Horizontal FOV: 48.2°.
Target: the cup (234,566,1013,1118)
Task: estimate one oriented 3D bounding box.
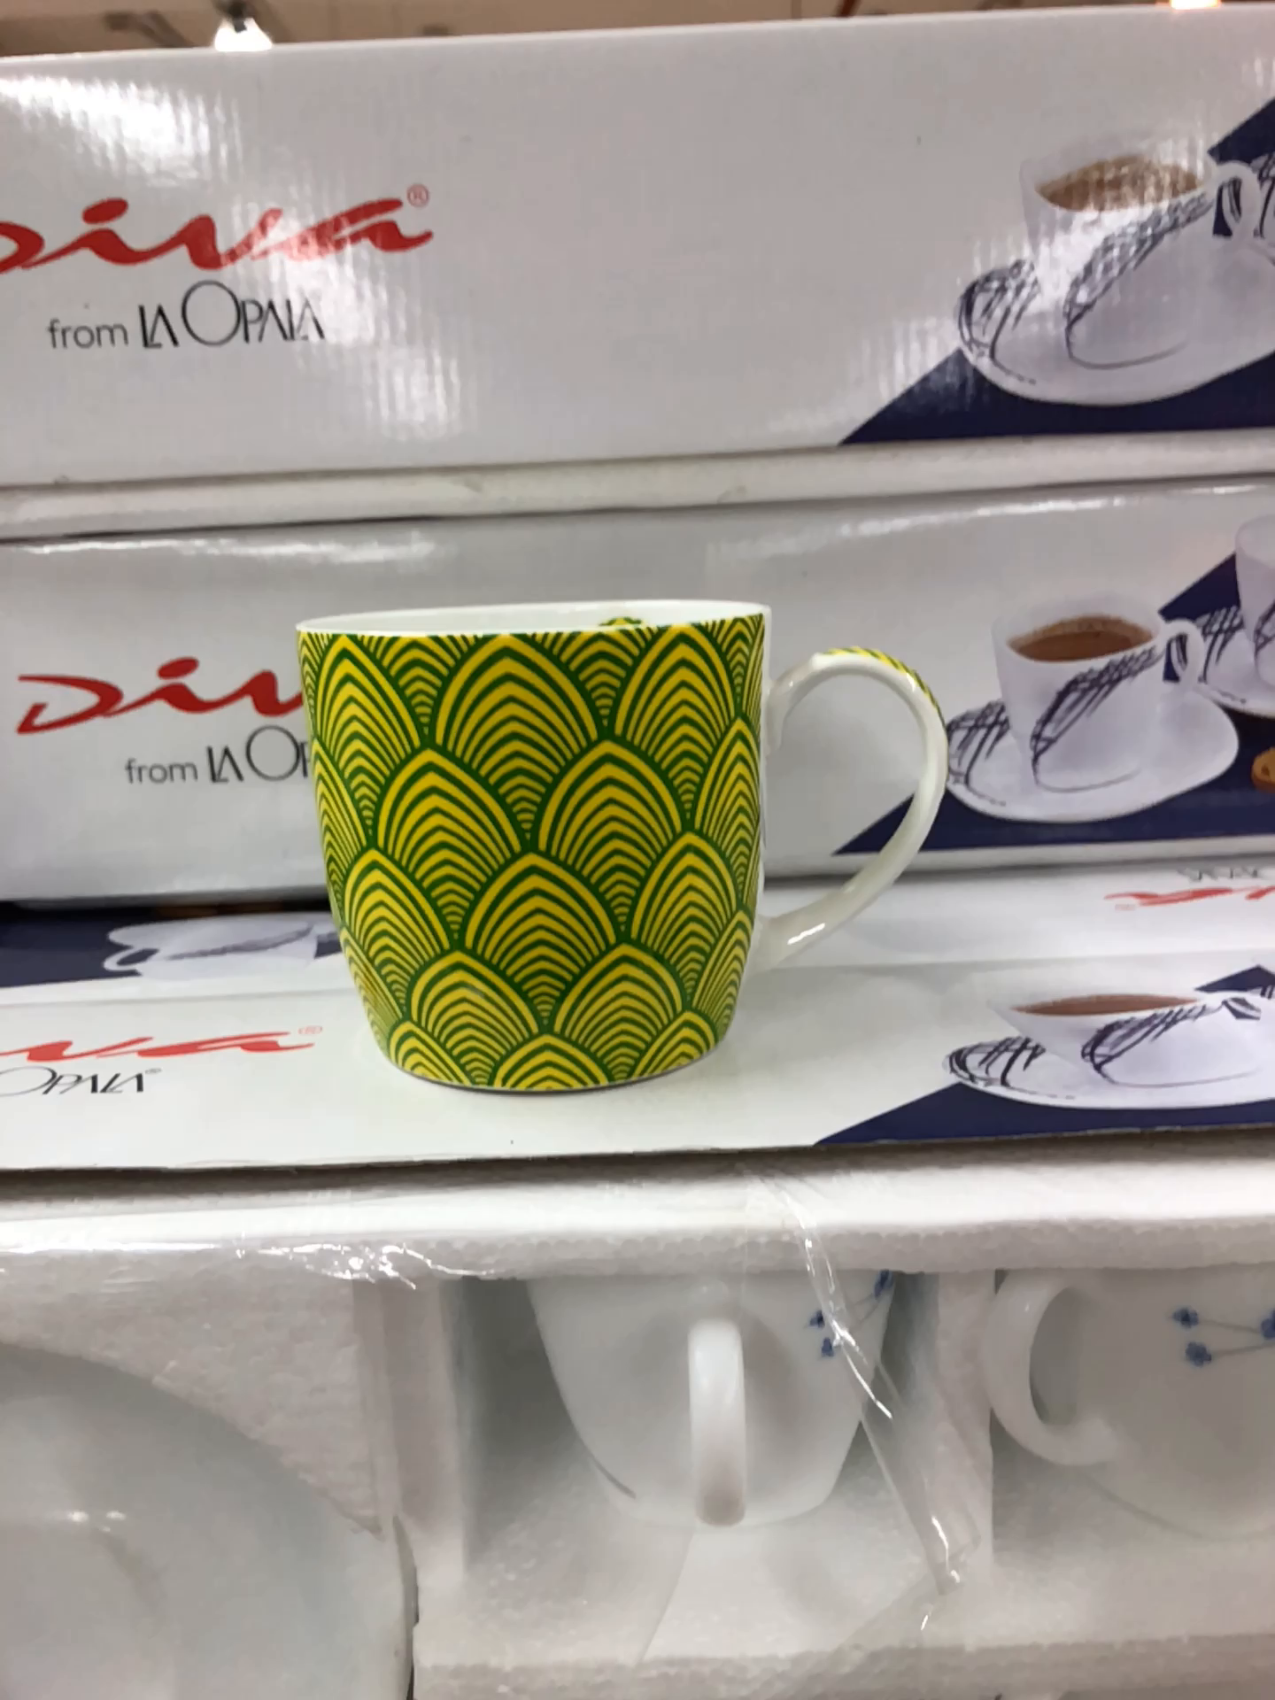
[{"bbox_3d":[-0.003,-0.009,0.271,0.120,0.080,0.090,-4,13,-5],"label":"cup"}]
